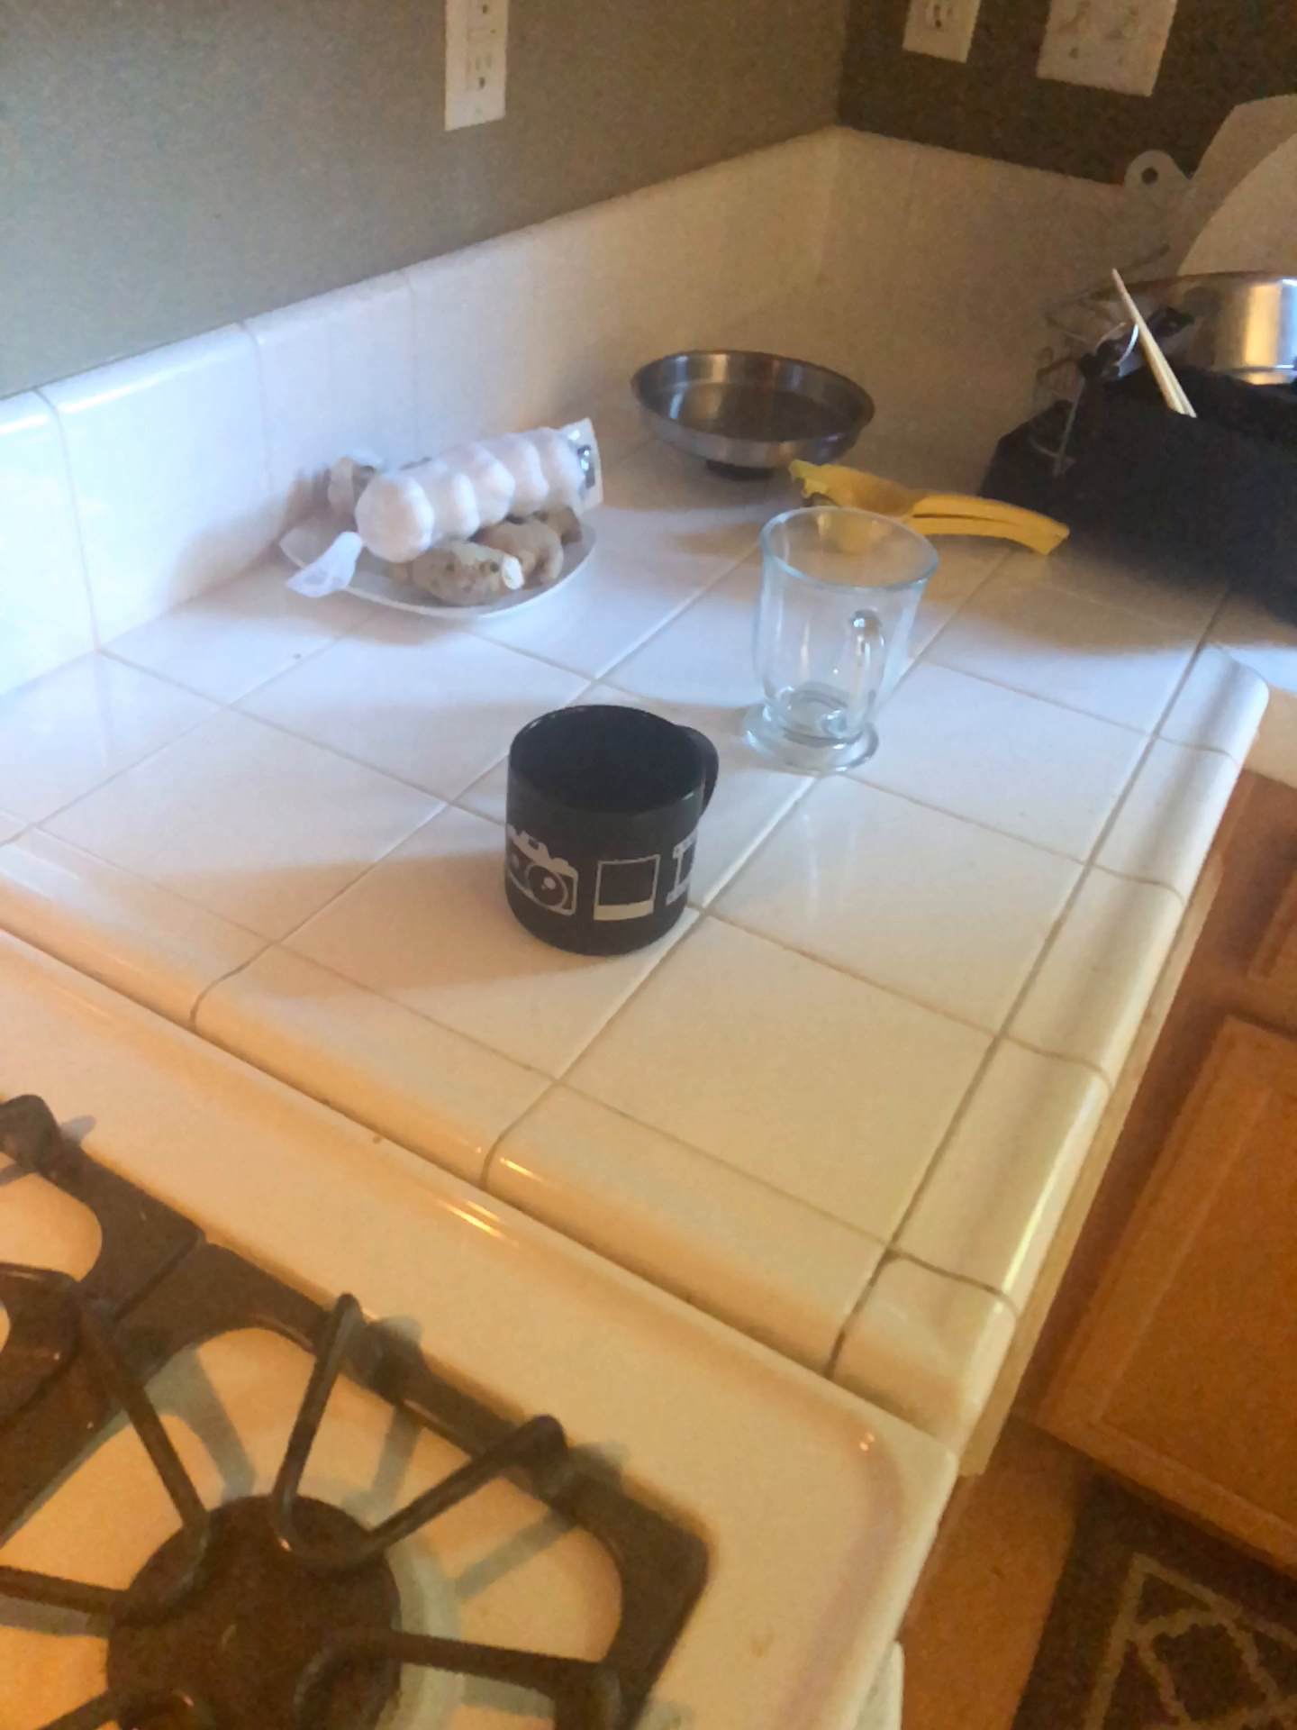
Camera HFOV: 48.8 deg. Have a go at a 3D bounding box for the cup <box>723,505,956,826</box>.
[{"bbox_3d":[0.098,-0.112,0.787,0.100,0.109,0.141,6,38,-2],"label":"cup"}]

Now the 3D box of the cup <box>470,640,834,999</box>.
[{"bbox_3d":[0.000,-0.026,0.670,0.100,0.089,0.131,35,46,30],"label":"cup"}]
